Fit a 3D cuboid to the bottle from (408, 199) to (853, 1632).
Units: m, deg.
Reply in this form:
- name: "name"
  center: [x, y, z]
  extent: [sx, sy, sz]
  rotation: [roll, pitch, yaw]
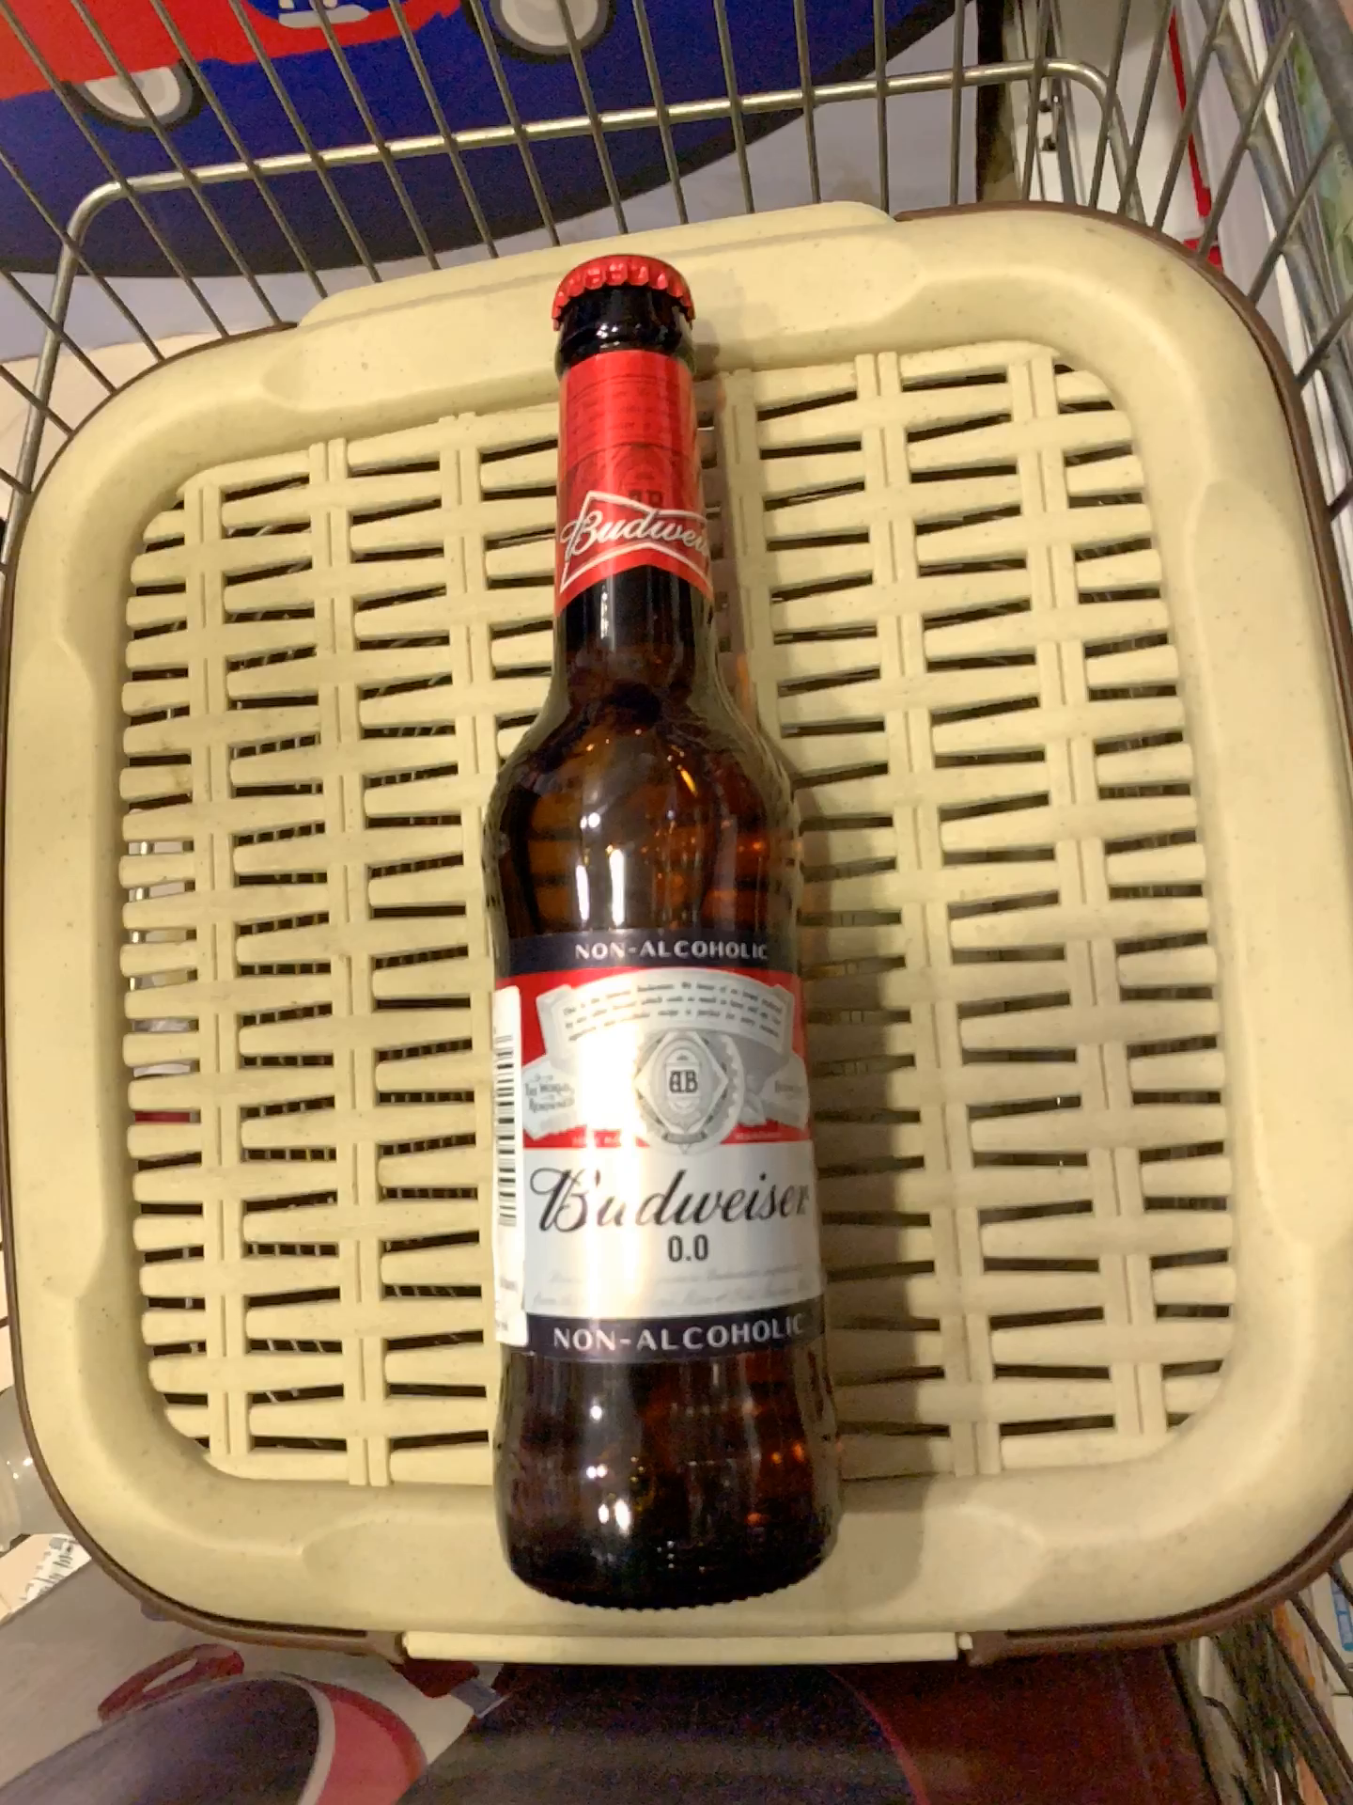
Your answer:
- name: "bottle"
  center: [-0.012, -0.002, 0.245]
  extent: [0.060, 0.060, 0.220]
  rotation: [-2, 83, -8]
